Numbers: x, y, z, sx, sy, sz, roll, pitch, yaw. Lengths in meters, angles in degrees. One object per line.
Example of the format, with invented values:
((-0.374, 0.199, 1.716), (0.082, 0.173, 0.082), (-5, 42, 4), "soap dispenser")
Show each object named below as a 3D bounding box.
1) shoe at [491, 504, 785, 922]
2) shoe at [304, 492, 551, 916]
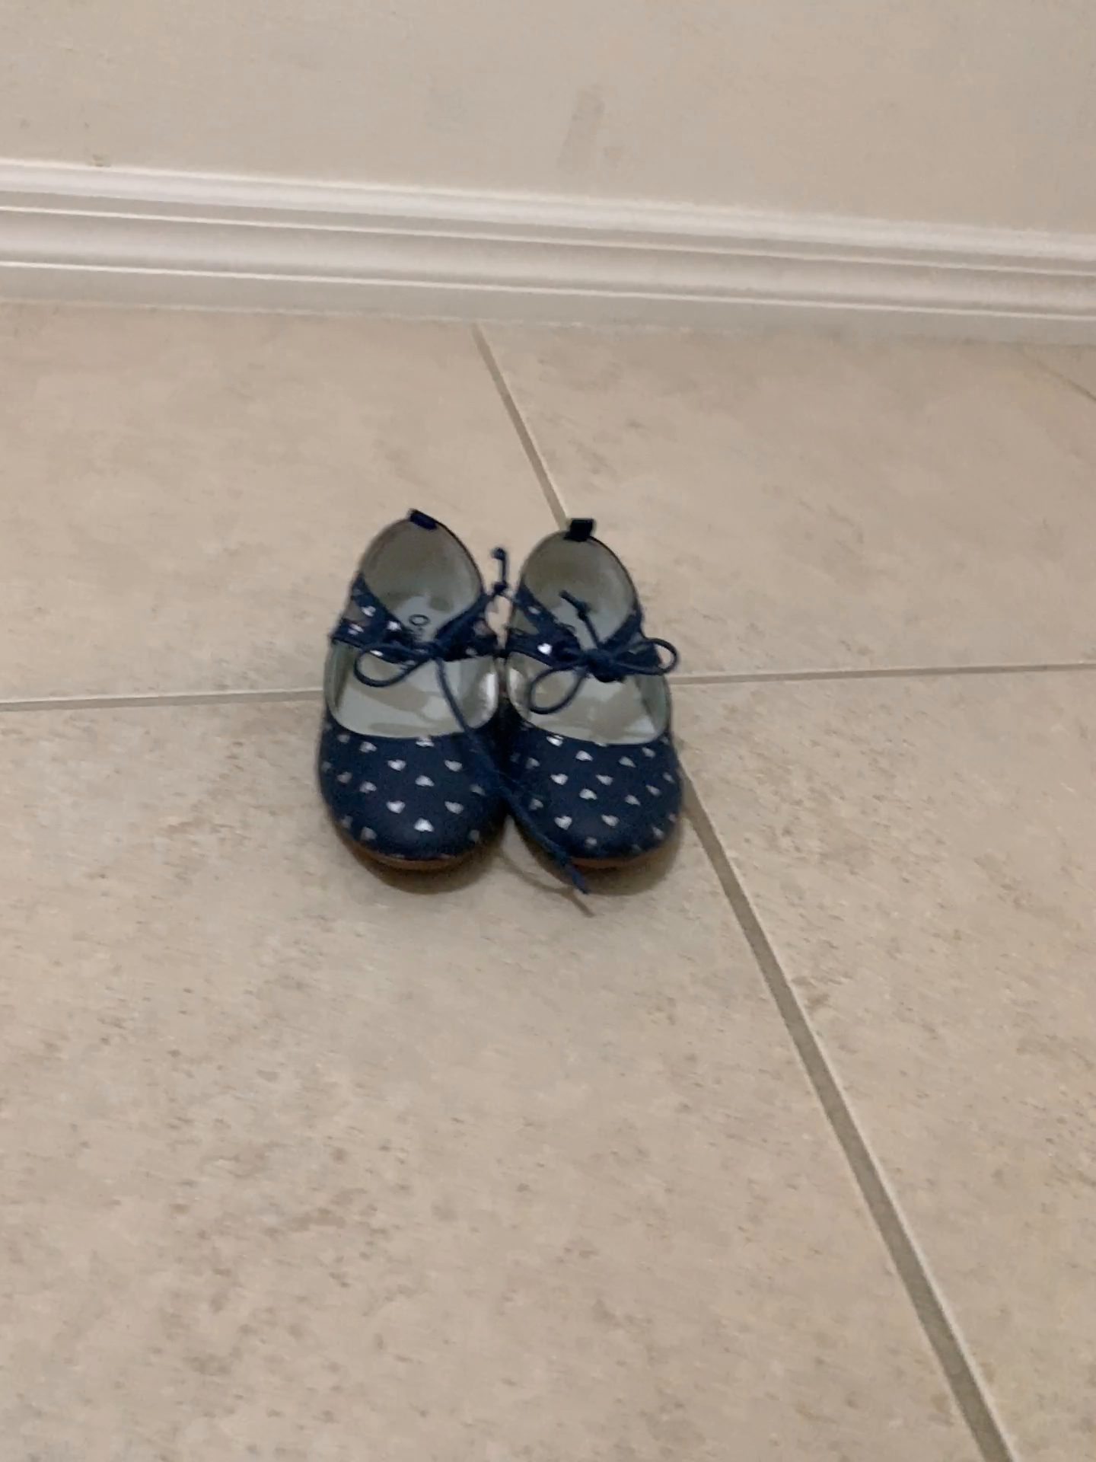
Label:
((0.023, -0.015, 0.418), (0.070, 0.061, 0.172), (1, 37, -9), "shoe")
((-0.047, -0.018, 0.409), (0.070, 0.061, 0.172), (1, 37, -9), "shoe")
